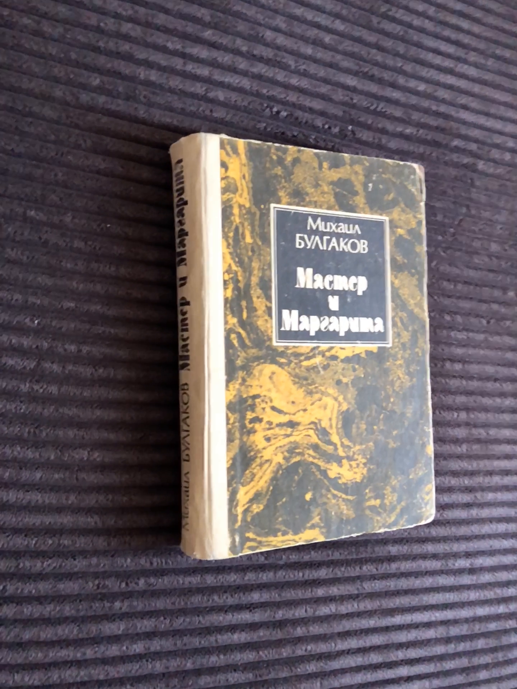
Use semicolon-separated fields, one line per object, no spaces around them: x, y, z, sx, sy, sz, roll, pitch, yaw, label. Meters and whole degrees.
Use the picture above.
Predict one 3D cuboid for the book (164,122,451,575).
0.030;-0.001;0.323;0.155;0.035;0.220;-1;86;-25;book
